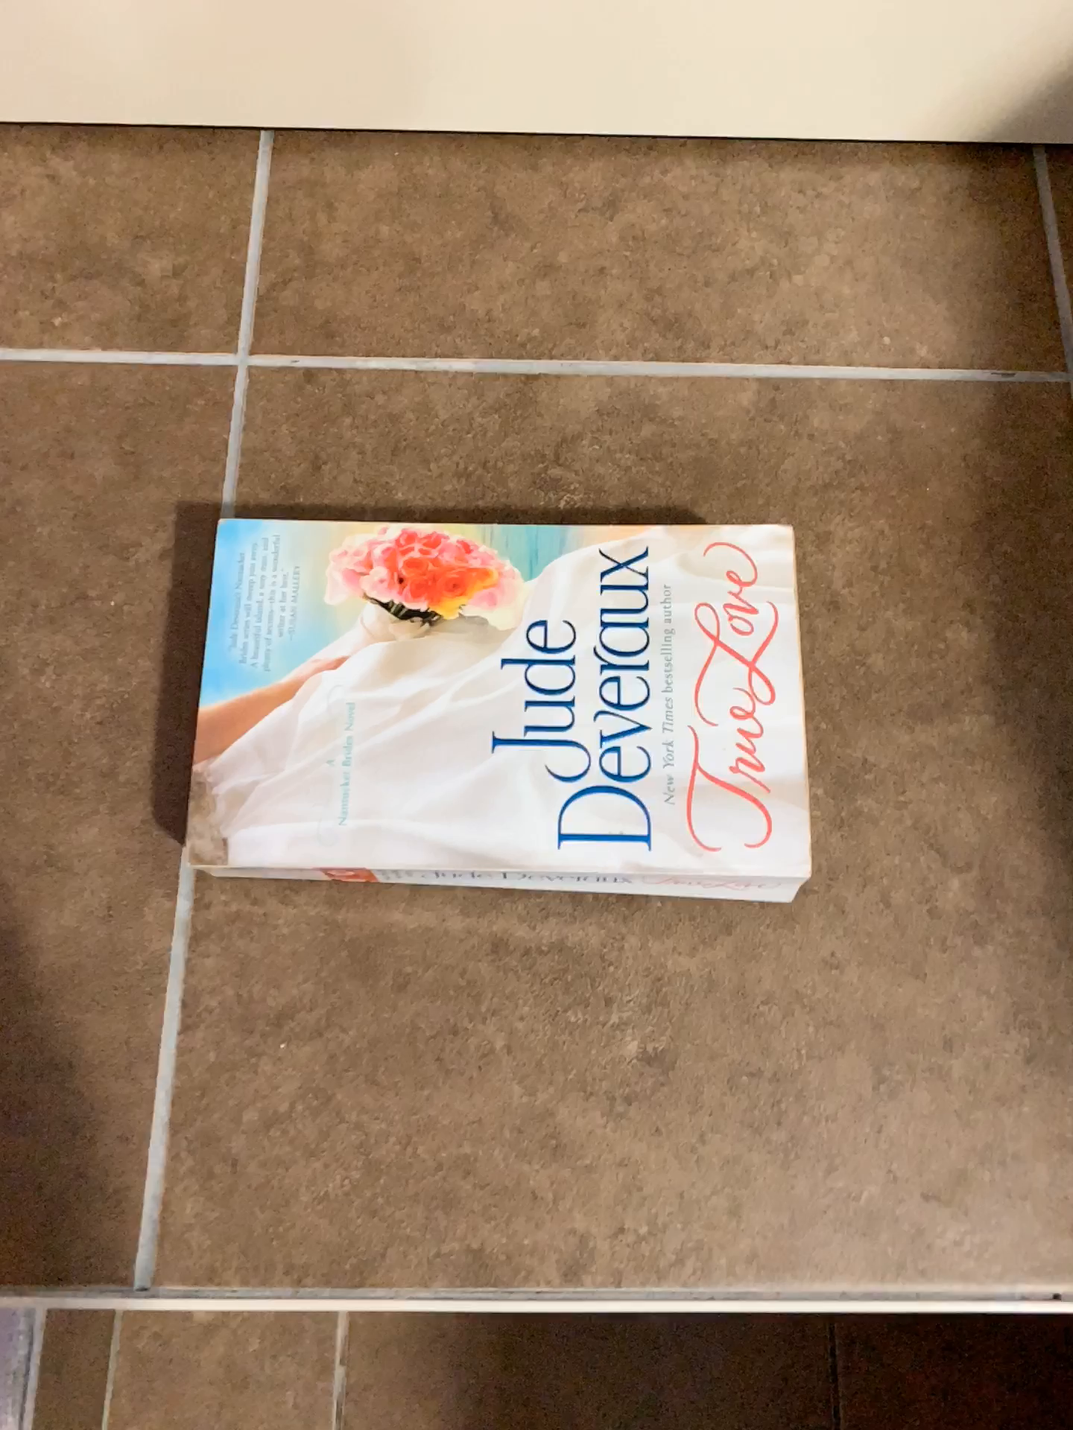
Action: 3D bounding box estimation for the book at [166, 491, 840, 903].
[{"bbox_3d":[-0.007,-0.004,0.330,0.179,0.047,0.106,3,73,0],"label":"book"}]
